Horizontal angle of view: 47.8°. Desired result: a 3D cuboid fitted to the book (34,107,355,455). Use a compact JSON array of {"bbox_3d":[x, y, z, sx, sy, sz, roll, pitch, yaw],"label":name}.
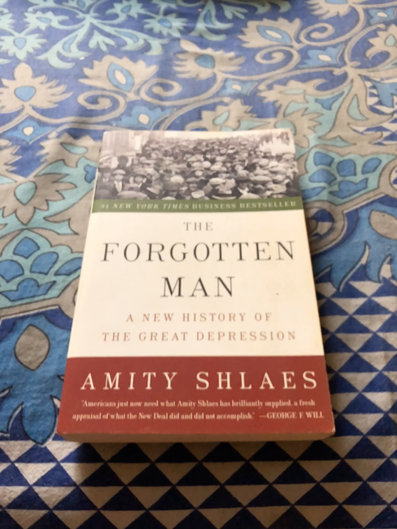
[{"bbox_3d":[-0.005,-0.001,0.264,0.140,0.050,0.200,-1,62,-1],"label":"book"}]
